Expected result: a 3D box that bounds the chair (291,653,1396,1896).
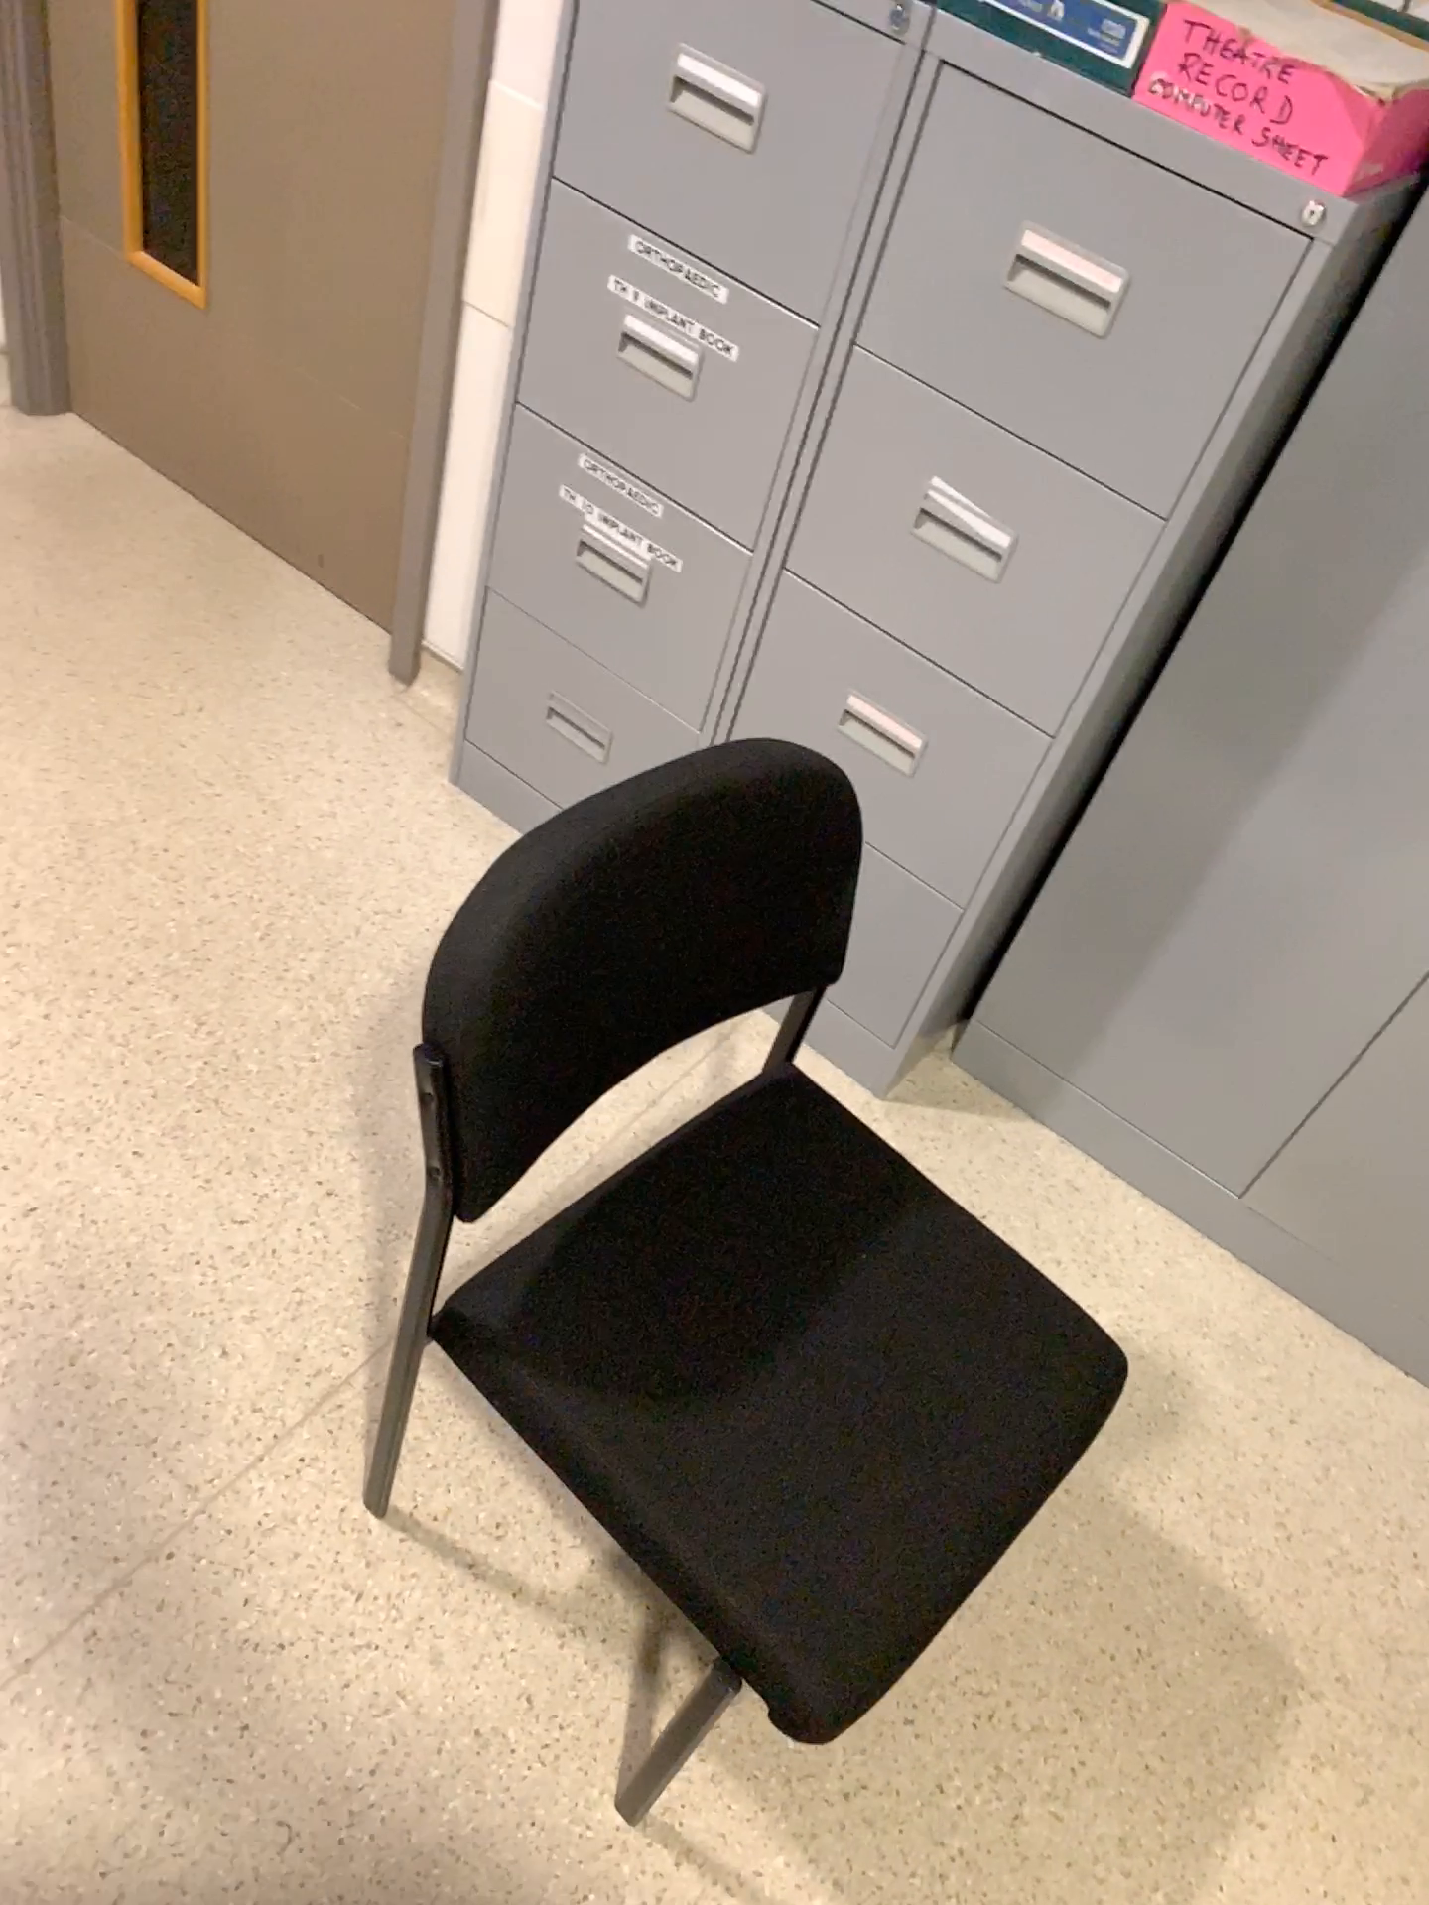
[{"bbox_3d":[0.052,0.307,1.413,0.592,0.852,0.634,40,47,20],"label":"chair"}]
